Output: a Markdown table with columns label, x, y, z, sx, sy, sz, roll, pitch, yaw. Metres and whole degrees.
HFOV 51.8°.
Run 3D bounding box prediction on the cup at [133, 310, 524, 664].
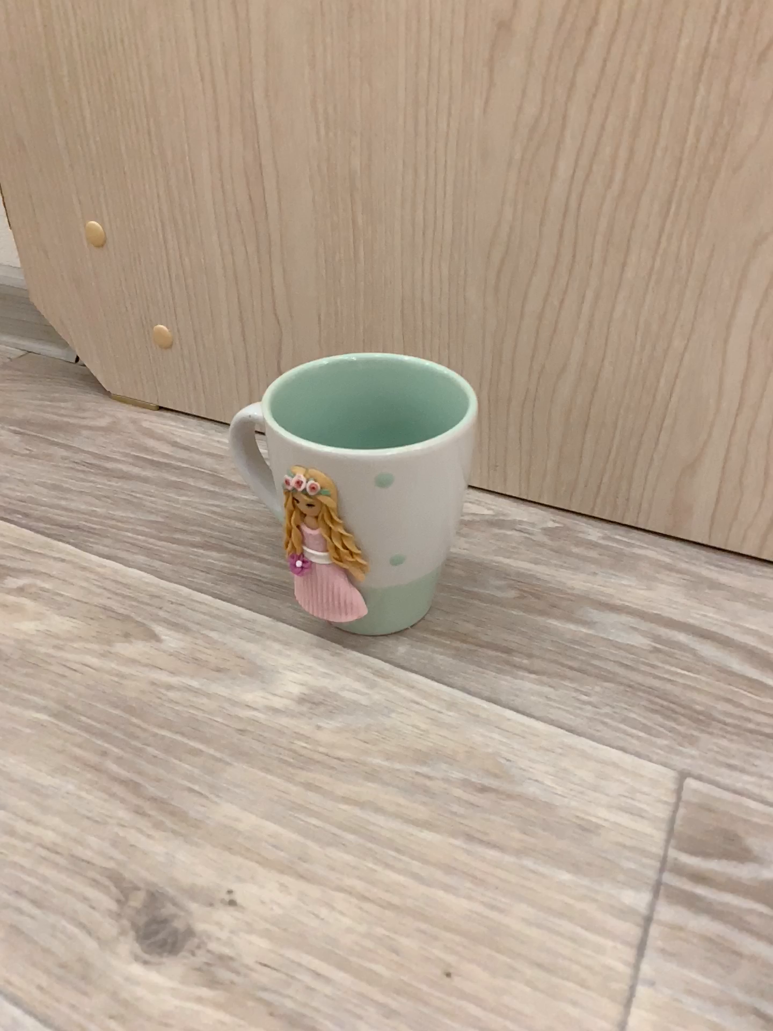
| label | x | y | z | sx | sy | sz | roll | pitch | yaw |
| --- | --- | --- | --- | --- | --- | --- | --- | --- | --- |
| cup | -0.018 | -0.019 | 0.313 | 0.112 | 0.080 | 0.093 | 17 | 37 | 22 |
